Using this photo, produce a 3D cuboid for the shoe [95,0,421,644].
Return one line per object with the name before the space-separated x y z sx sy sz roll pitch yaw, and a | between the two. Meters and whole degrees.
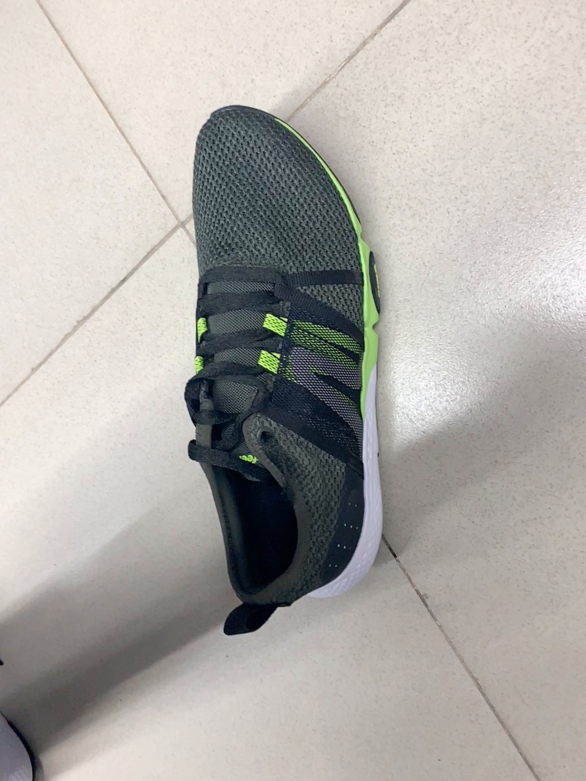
shoe | -0.013 -0.029 0.342 0.110 0.100 0.300 -7 93 26
